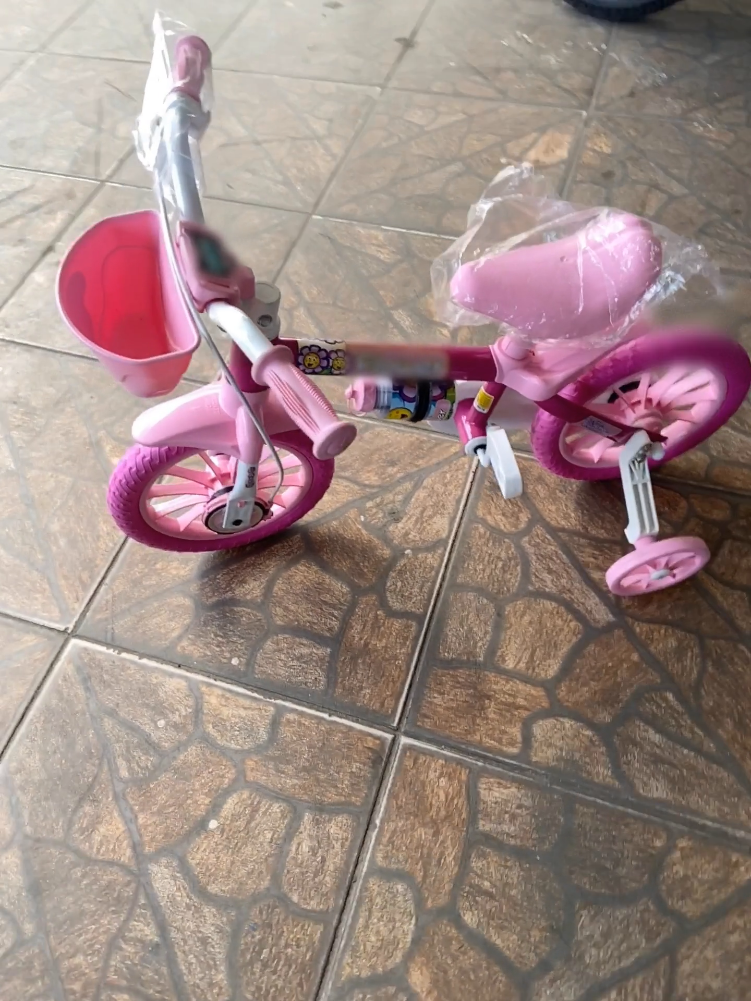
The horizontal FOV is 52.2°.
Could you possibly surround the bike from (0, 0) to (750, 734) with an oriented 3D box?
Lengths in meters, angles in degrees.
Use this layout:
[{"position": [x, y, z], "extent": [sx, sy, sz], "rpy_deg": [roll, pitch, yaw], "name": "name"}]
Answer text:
[{"position": [0.048, -0.140, 0.876], "extent": [0.792, 0.563, 0.512], "rpy_deg": [-11, 57, -3], "name": "bike"}]
